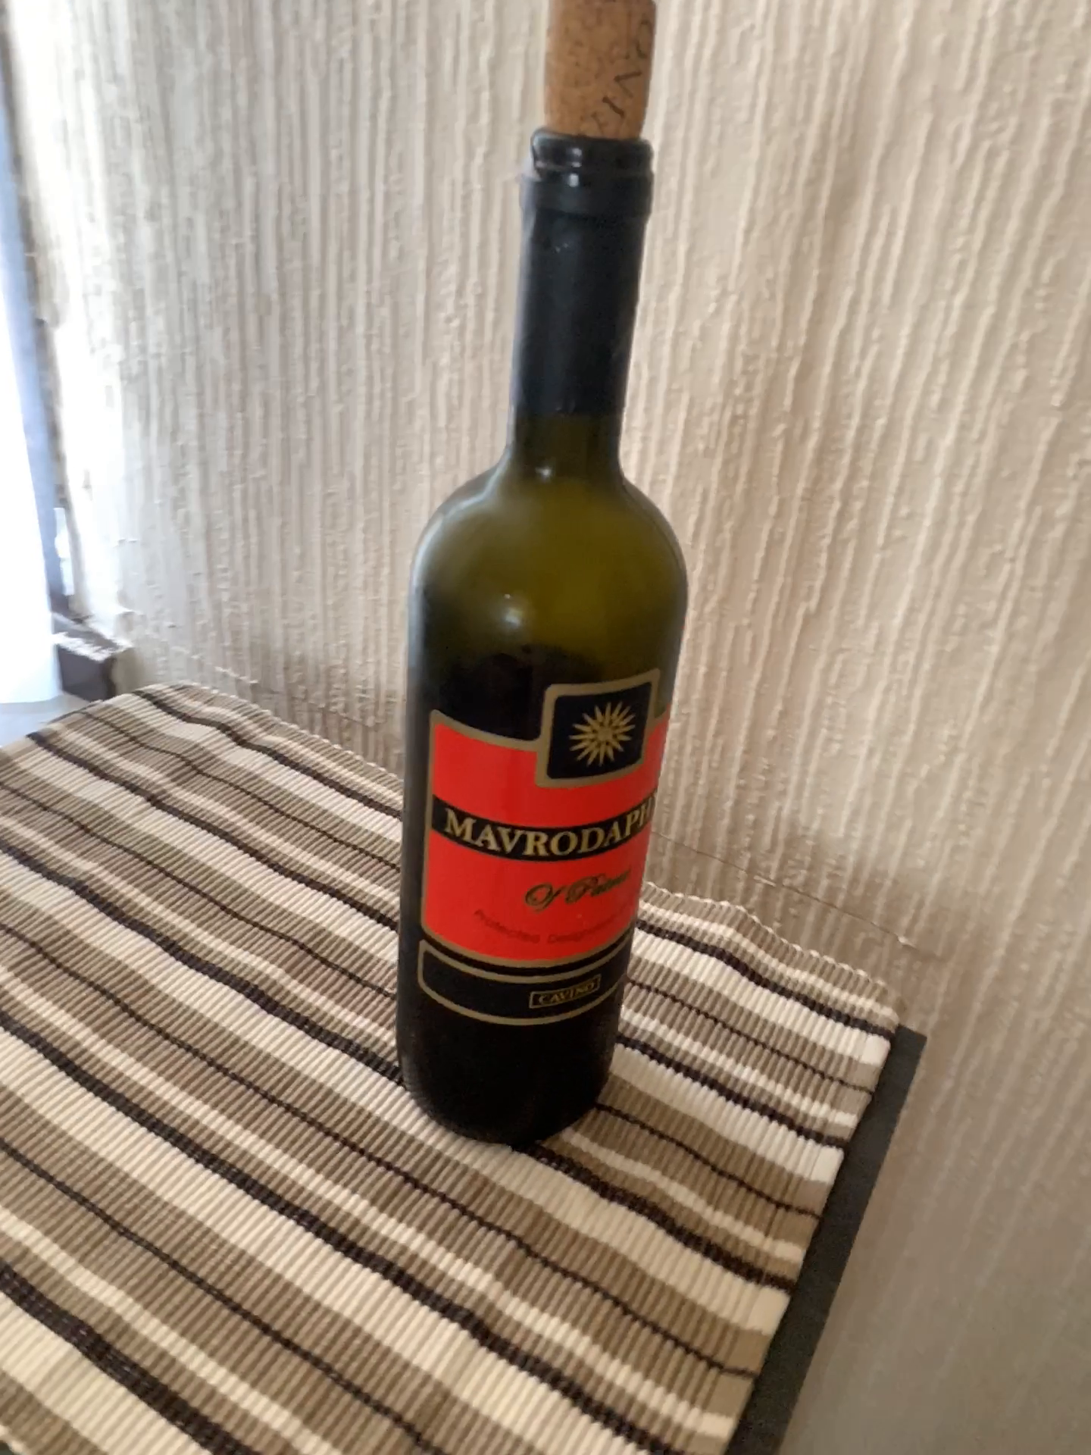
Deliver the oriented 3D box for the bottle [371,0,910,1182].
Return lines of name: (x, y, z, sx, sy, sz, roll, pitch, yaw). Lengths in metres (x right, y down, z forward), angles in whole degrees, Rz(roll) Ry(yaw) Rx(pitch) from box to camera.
bottle: (0.003, -0.021, 0.312, 0.080, 0.317, 0.081, 5, 31, -3)
